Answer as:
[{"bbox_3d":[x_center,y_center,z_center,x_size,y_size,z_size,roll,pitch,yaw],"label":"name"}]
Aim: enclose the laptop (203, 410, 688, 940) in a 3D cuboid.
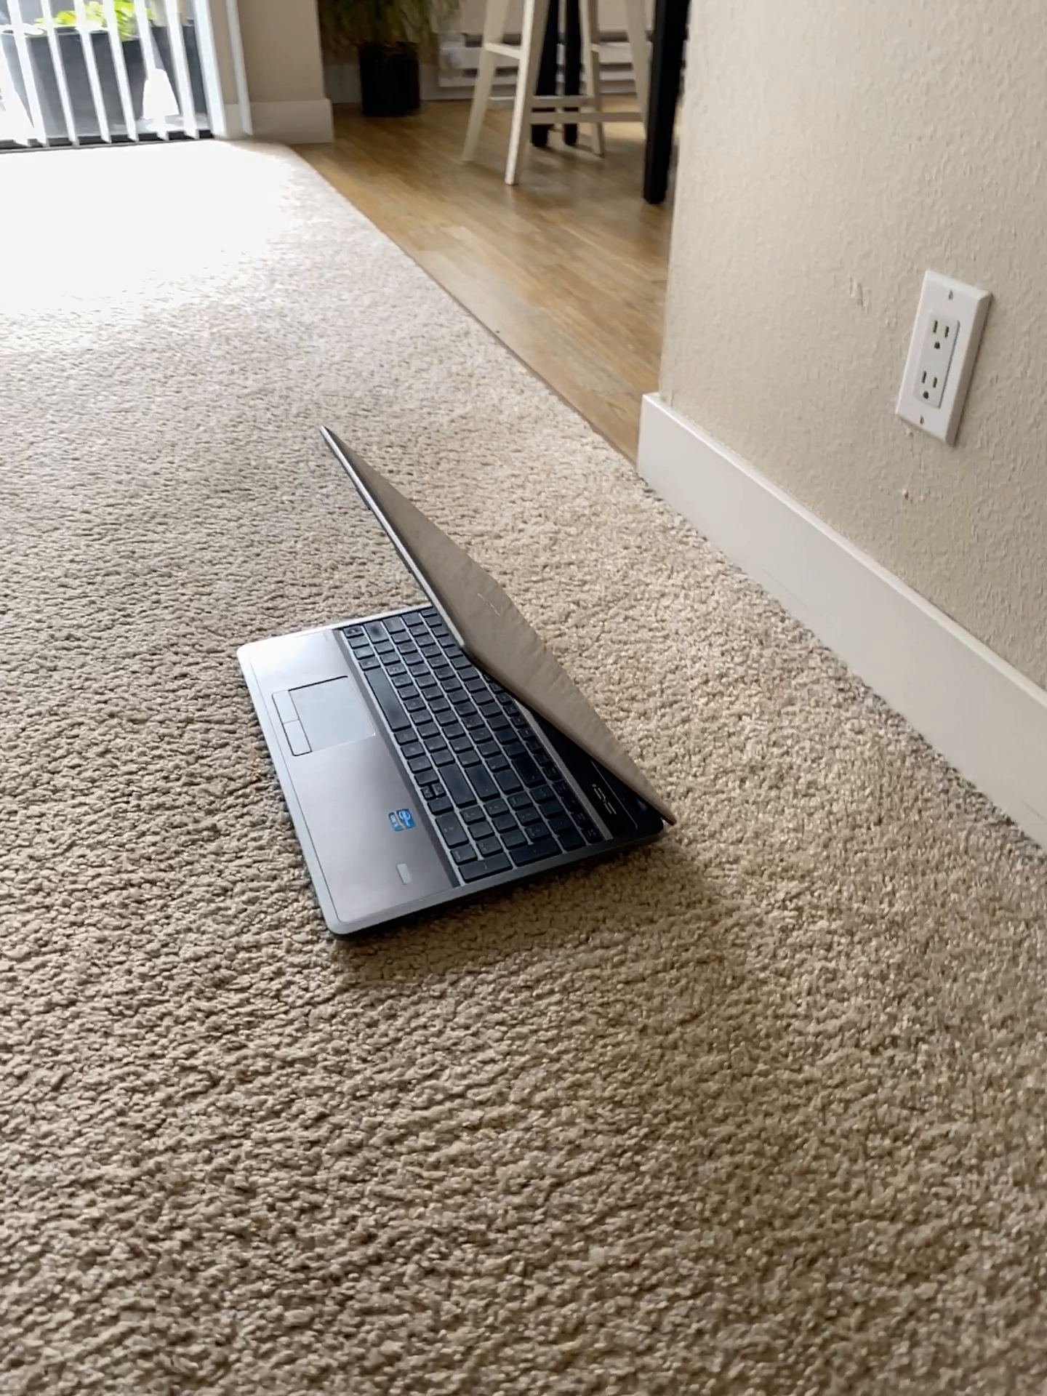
[{"bbox_3d":[-0.082,-0.048,0.835,0.248,0.189,0.372,-15,39,-18],"label":"laptop"}]
